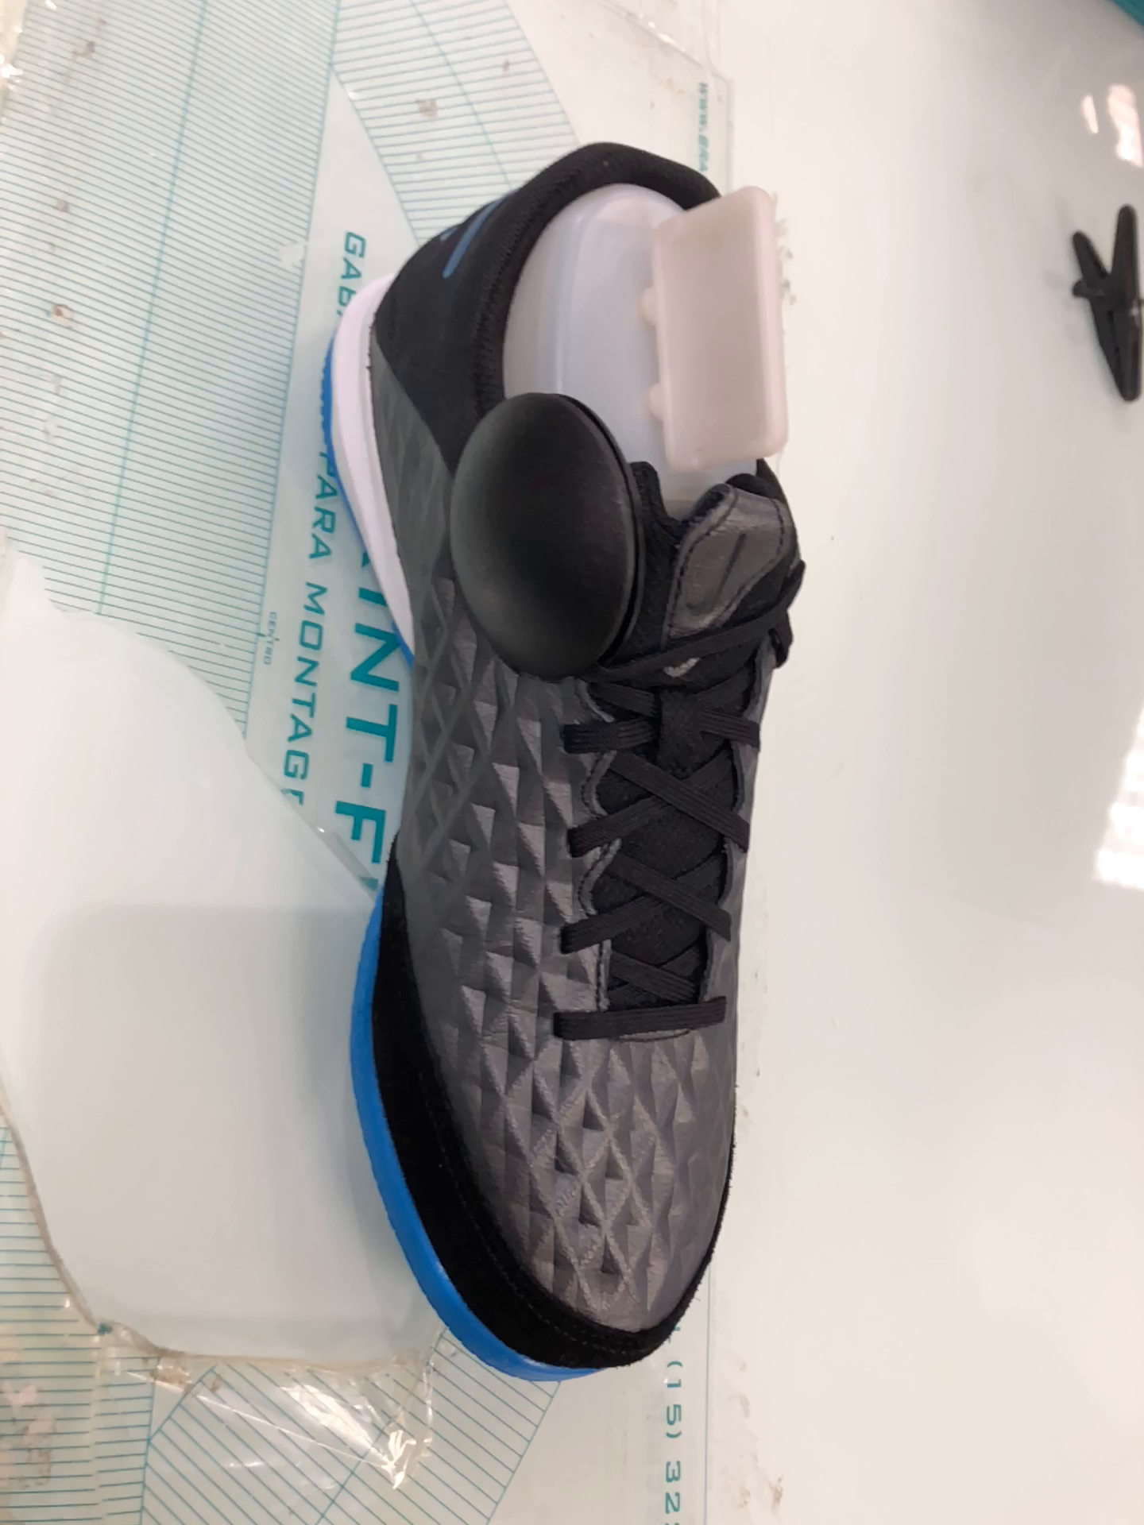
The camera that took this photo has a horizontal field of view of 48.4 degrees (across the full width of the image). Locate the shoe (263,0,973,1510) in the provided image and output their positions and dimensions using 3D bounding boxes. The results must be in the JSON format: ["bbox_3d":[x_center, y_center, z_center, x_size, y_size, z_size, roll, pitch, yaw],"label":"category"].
[{"bbox_3d":[-0.001,-0.010,0.299,0.100,0.099,0.290,3,75,-33],"label":"shoe"}]
